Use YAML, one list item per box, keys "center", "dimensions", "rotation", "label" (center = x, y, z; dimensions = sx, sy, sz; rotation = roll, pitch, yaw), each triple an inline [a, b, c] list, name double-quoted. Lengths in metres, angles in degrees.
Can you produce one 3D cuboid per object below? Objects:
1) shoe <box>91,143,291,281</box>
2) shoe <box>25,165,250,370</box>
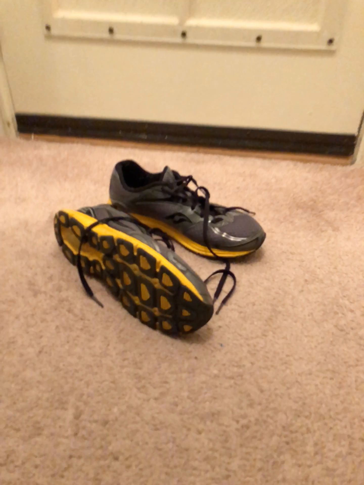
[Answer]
- center: [0.008, -0.061, 0.631]
  dimensions: [0.283, 0.099, 0.118]
  rotation: [21, 40, 24]
  label: "shoe"
- center: [-0.069, 0.014, 0.527]
  dimensions: [0.294, 0.117, 0.109]
  rotation: [29, 46, 32]
  label: "shoe"
